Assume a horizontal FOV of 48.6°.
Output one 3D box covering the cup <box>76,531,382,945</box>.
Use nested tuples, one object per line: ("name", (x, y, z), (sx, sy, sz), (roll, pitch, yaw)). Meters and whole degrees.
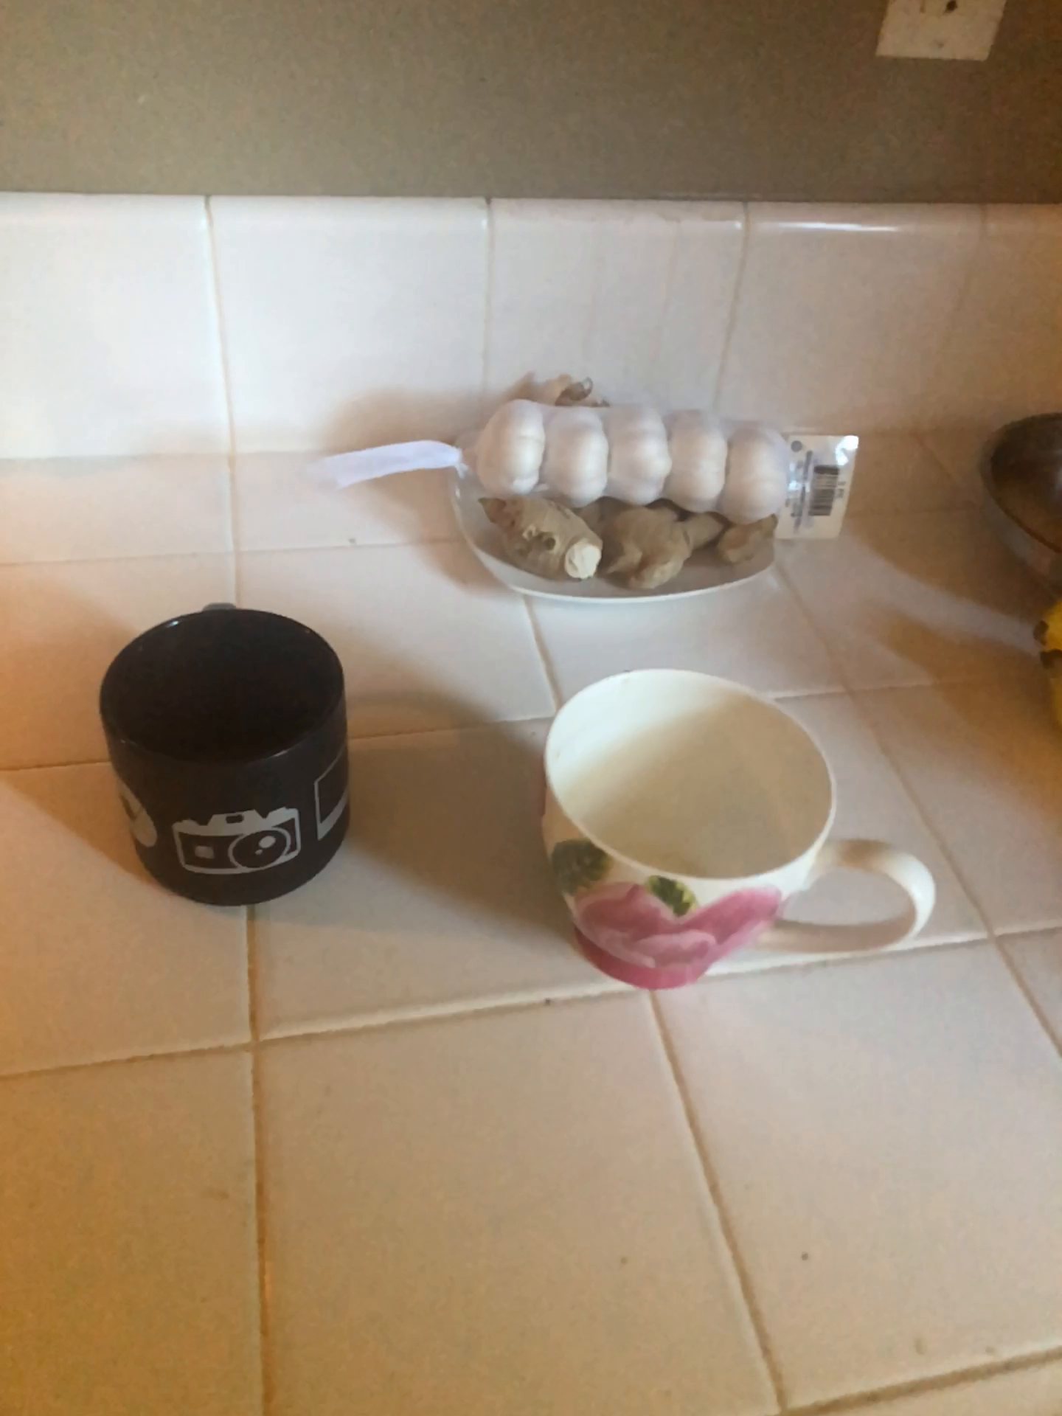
("cup", (-0.124, 0.007, 0.480), (0.100, 0.079, 0.141), (-8, 45, -15))

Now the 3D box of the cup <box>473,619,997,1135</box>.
("cup", (0.071, 0.057, 0.440), (0.150, 0.089, 0.101), (28, 48, 21))
